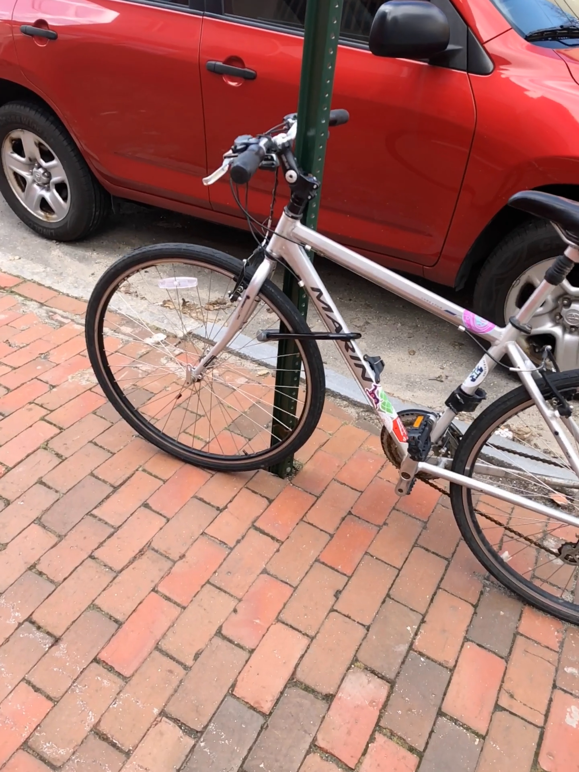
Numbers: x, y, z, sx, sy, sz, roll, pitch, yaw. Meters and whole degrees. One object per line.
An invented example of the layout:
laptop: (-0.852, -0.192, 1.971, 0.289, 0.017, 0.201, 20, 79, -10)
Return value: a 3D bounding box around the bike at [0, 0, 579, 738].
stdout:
bike: (0.174, -0.148, 1.383, 1.561, 1.010, 0.612, 20, 41, 16)
